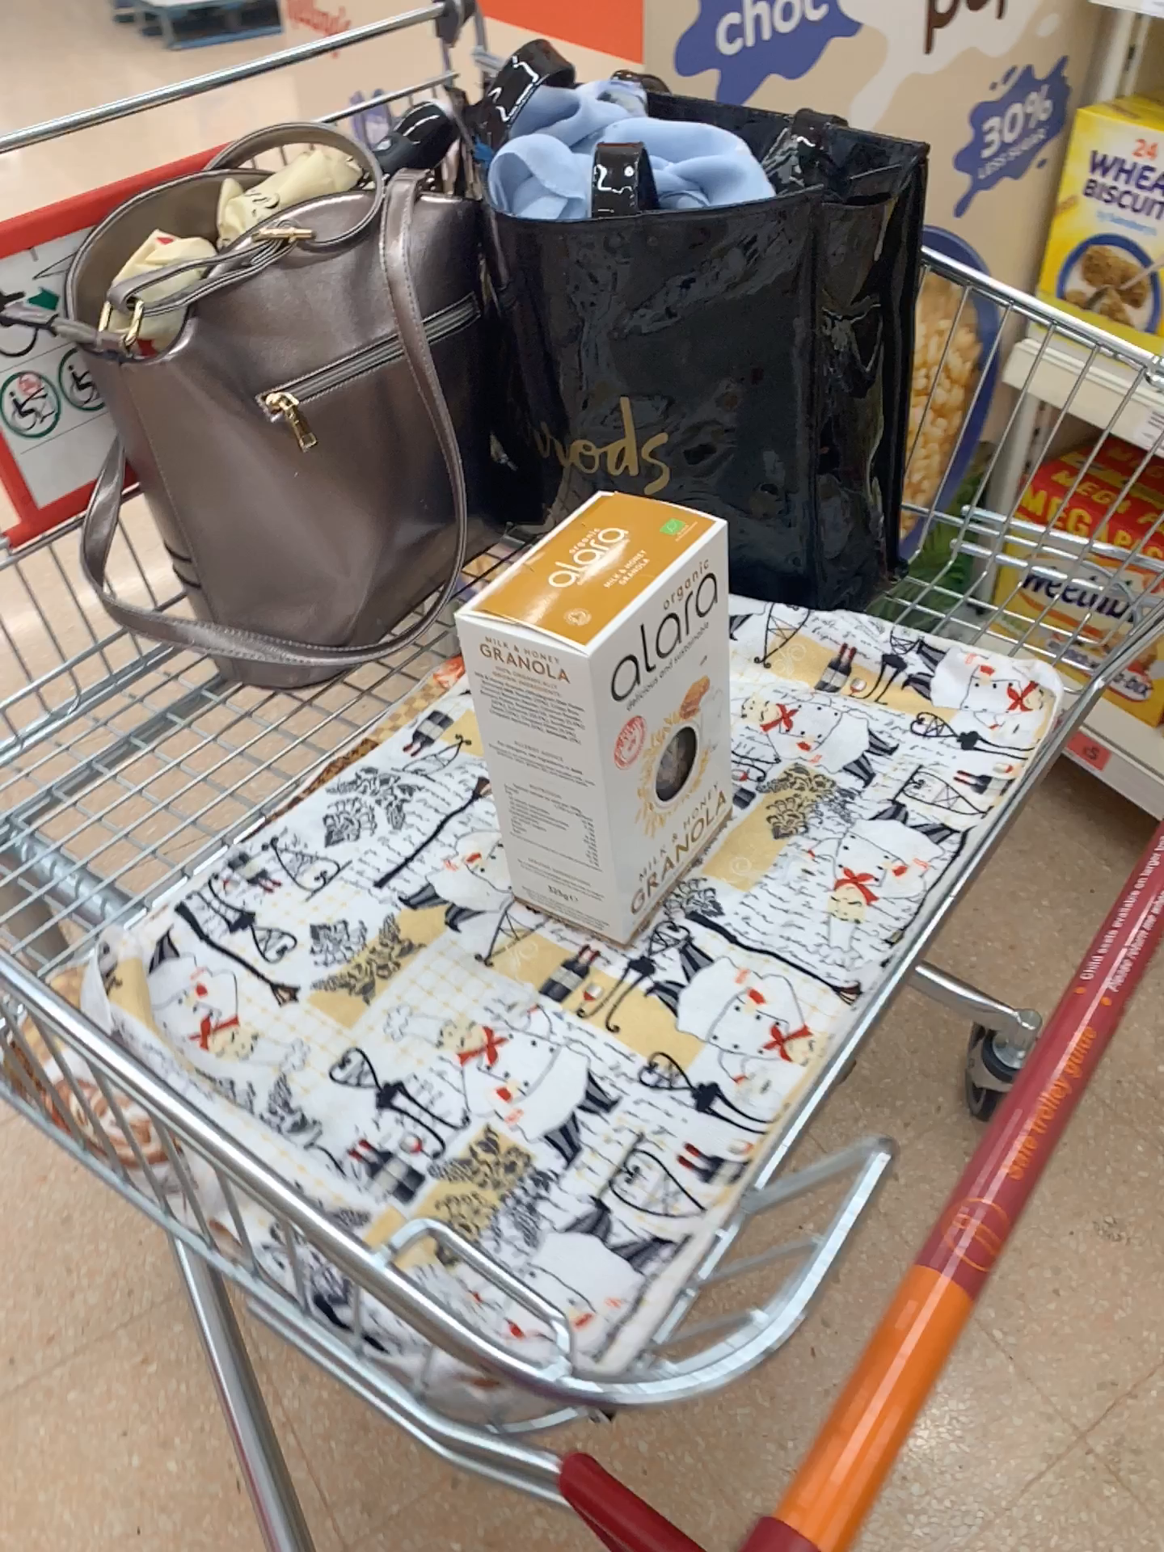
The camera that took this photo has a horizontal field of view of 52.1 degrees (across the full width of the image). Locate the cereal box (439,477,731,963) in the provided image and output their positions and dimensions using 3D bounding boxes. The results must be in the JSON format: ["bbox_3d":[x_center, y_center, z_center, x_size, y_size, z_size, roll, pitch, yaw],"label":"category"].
[{"bbox_3d":[0.011,-0.026,0.602,0.080,0.198,0.121,20,47,27],"label":"cereal box"}]
